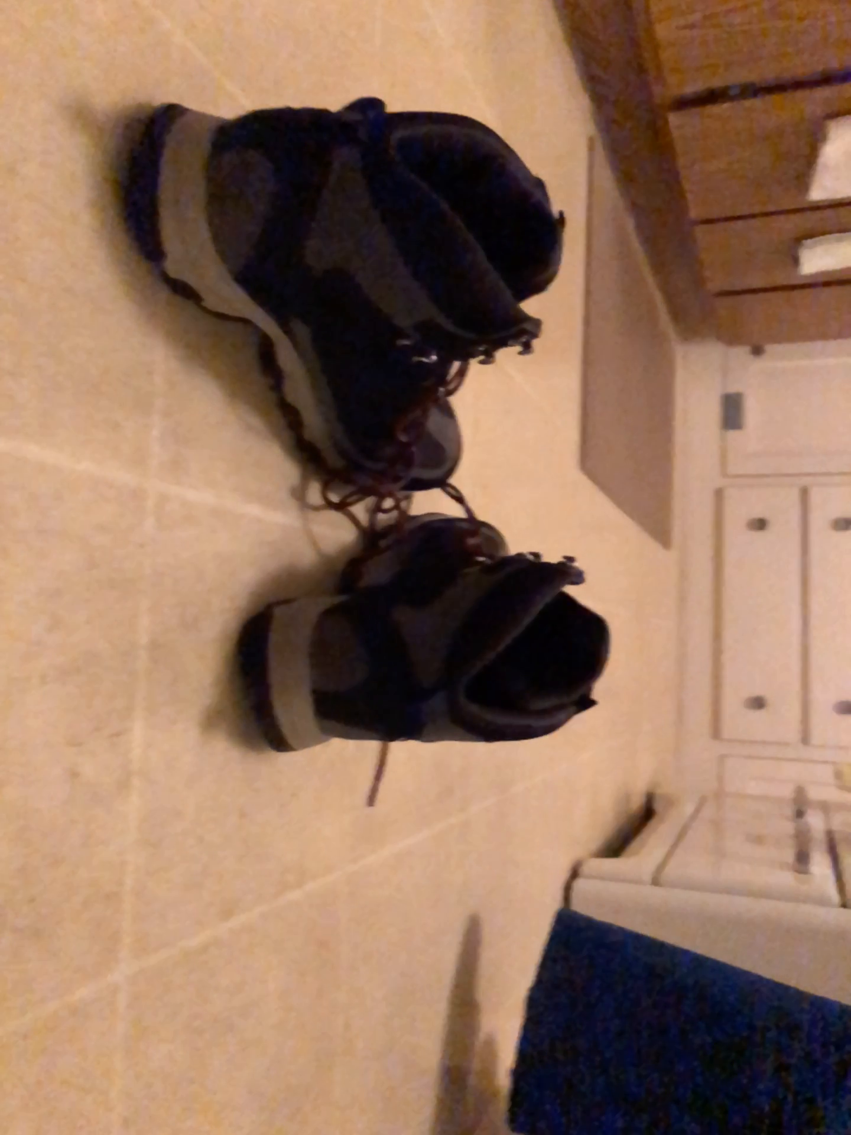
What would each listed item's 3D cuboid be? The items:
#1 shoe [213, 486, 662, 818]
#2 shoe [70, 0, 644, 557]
[{"bbox_3d":[0.035,0.031,0.625,0.300,0.195,0.116,-34,122,-65],"label":"shoe"},{"bbox_3d":[-0.002,-0.134,0.531,0.310,0.195,0.126,54,41,-56],"label":"shoe"}]
